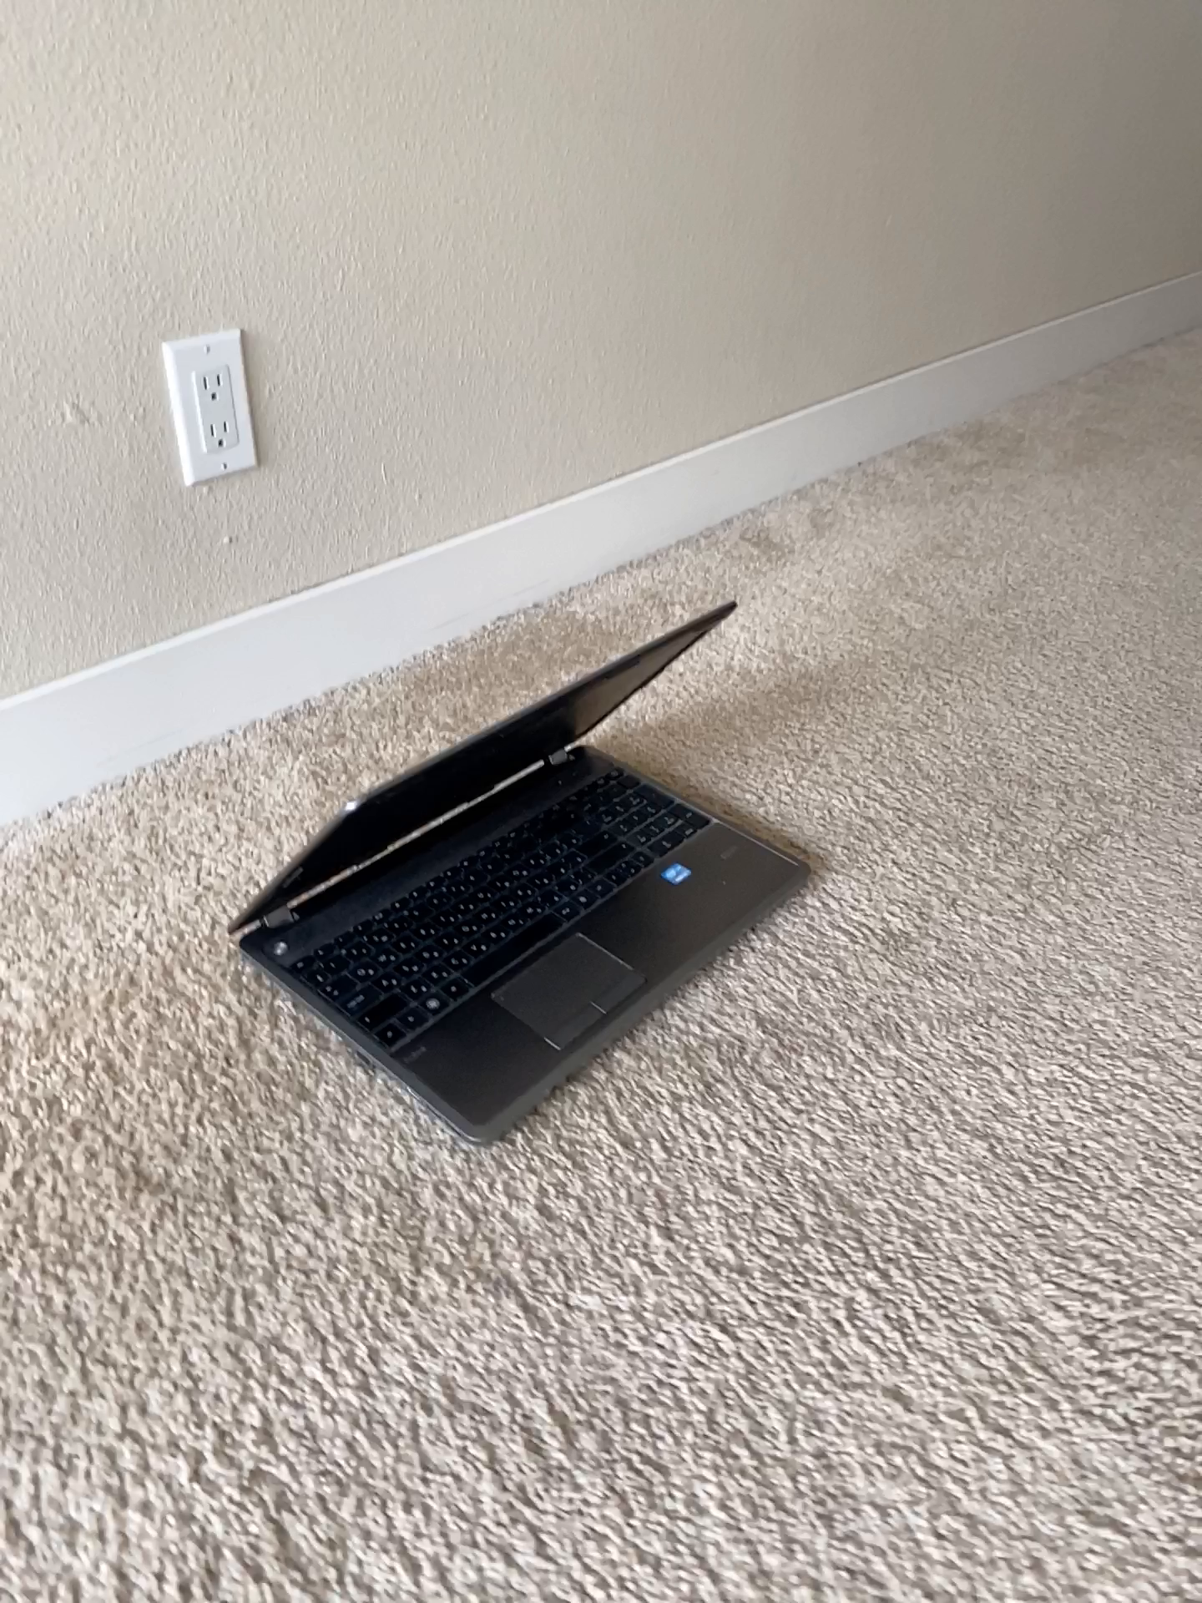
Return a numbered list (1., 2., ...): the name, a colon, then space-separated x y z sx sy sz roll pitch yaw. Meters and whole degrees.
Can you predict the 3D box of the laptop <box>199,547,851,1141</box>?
1. laptop: -0.039 -0.001 0.870 0.249 0.189 0.371 29 42 30
